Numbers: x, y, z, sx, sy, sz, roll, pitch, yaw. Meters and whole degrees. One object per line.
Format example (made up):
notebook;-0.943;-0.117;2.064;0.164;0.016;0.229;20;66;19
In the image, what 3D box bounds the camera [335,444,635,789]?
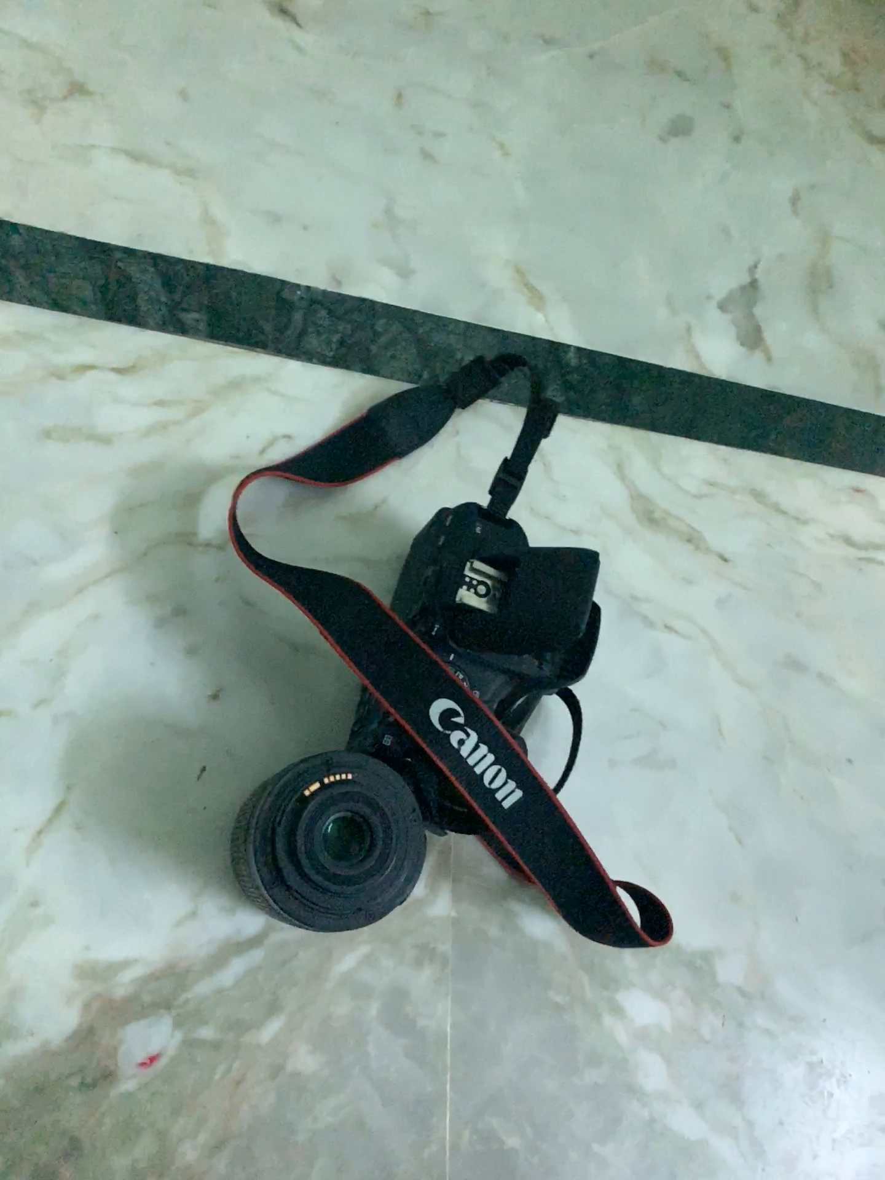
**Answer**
camera;0.018;0.016;0.396;0.082;0.078;0.112;23;67;-12
